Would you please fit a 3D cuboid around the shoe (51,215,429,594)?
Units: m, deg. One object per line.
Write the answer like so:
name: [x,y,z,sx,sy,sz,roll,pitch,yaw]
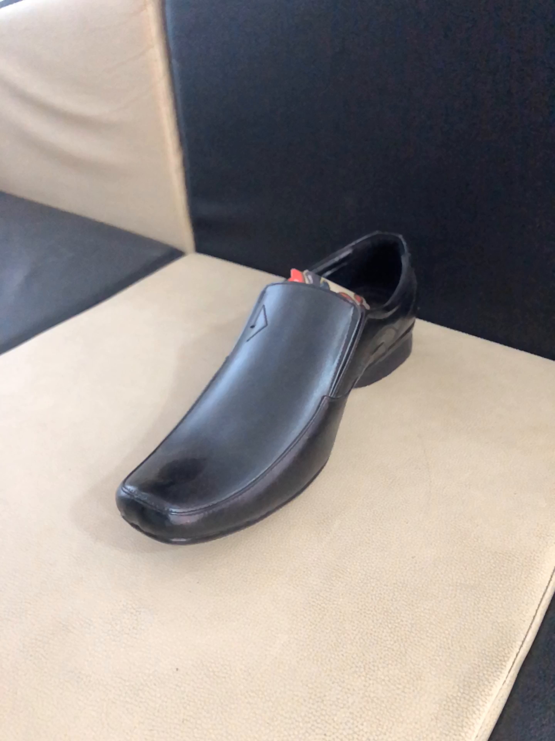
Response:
shoe: [0.001,-0.004,0.412,0.090,0.090,0.281,18,41,28]
